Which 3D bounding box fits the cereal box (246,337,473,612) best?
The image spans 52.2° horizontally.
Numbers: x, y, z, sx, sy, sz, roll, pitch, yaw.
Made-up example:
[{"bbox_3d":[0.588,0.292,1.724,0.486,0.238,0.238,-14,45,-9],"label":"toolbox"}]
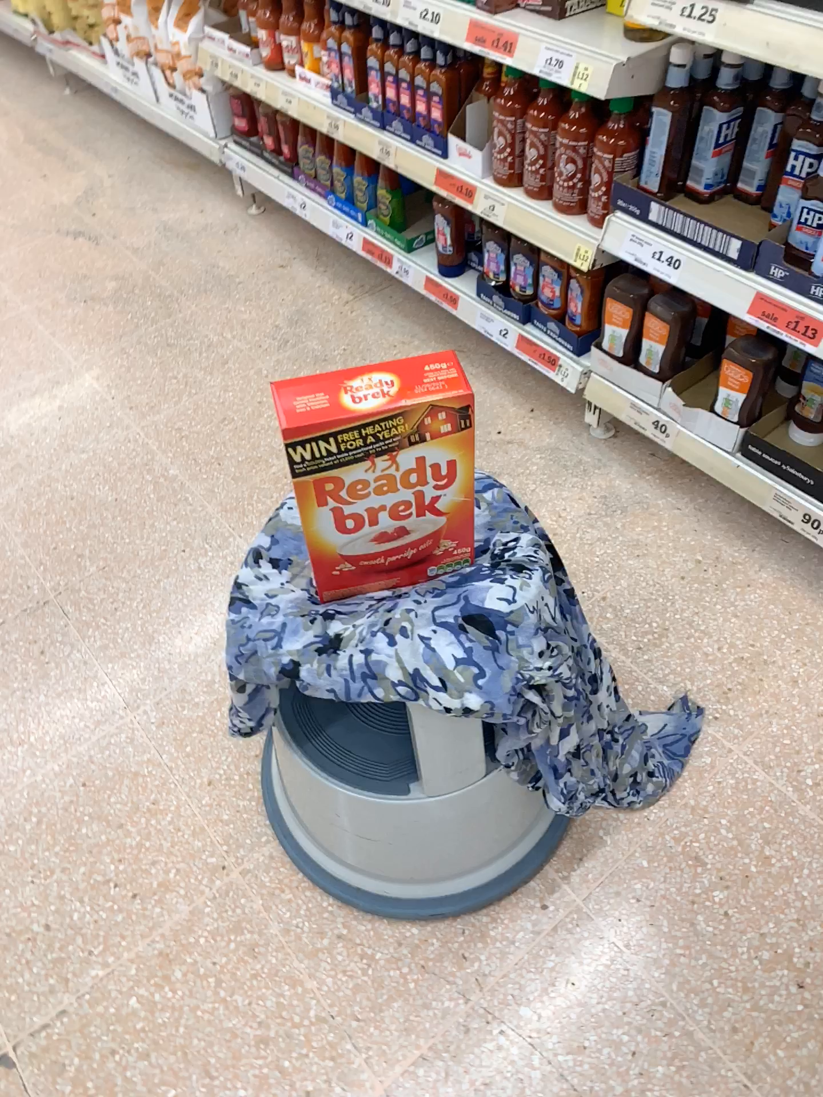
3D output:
[{"bbox_3d":[-0.036,-0.056,0.750,0.170,0.238,0.061,-11,49,-5],"label":"cereal box"}]
